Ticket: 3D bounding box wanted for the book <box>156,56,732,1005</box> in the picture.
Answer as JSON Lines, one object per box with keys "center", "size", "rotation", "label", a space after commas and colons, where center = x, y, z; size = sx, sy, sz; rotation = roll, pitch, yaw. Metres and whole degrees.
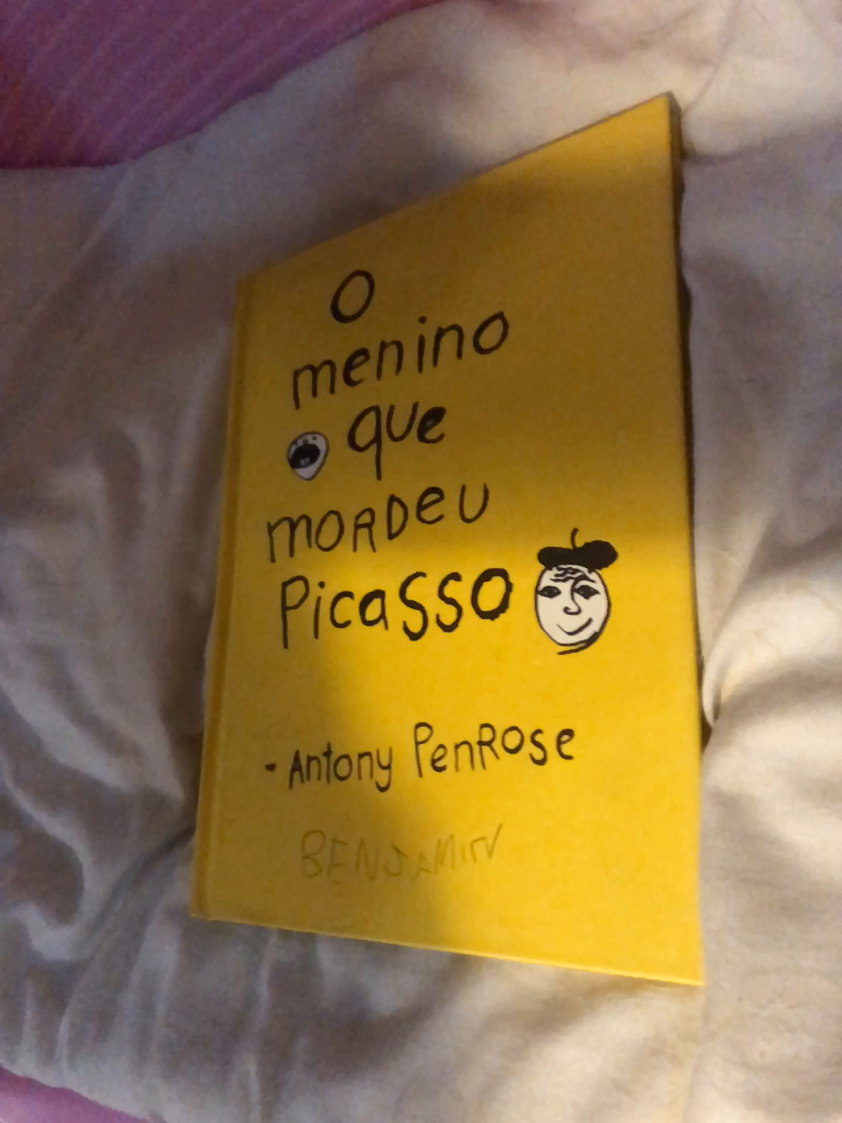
{"center": [-0.004, -0.009, 0.291], "size": [0.181, 0.024, 0.240], "rotation": [-8, 73, 36], "label": "book"}
